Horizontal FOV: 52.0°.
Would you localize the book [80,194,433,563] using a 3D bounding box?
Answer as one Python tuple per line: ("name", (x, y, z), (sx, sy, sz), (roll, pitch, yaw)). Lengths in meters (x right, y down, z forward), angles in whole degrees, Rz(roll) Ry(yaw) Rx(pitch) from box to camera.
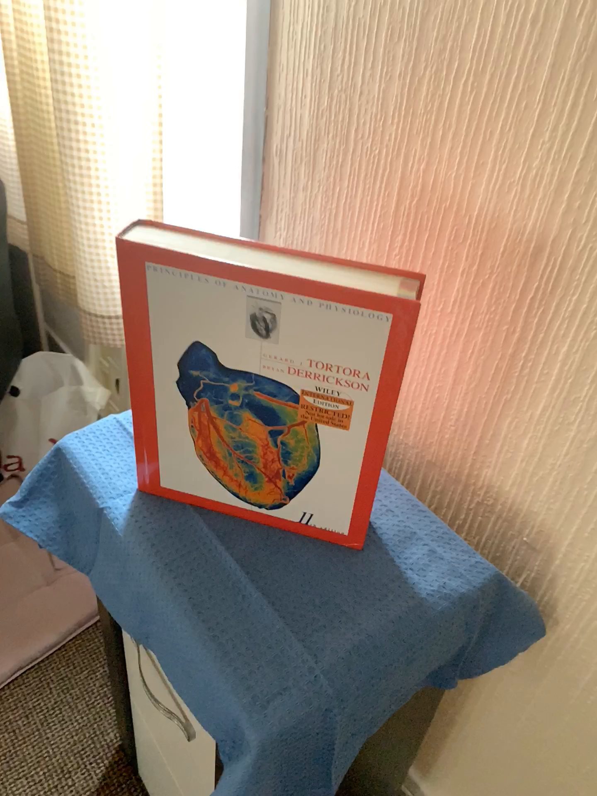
("book", (-0.045, -0.006, 0.544), (0.260, 0.287, 0.061), (13, 36, 9))
